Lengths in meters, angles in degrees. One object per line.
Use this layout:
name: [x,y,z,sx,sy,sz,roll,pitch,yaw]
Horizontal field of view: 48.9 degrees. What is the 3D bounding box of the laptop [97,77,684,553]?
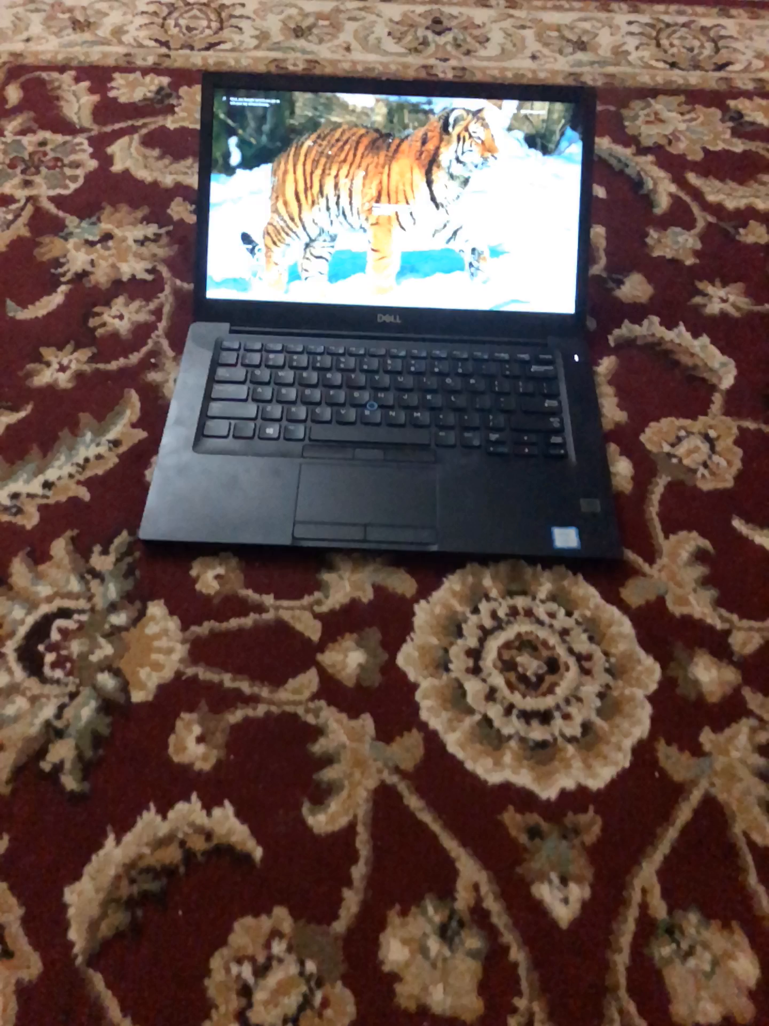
laptop: [0.007,-0.168,0.637,0.328,0.124,0.384,2,53,0]
